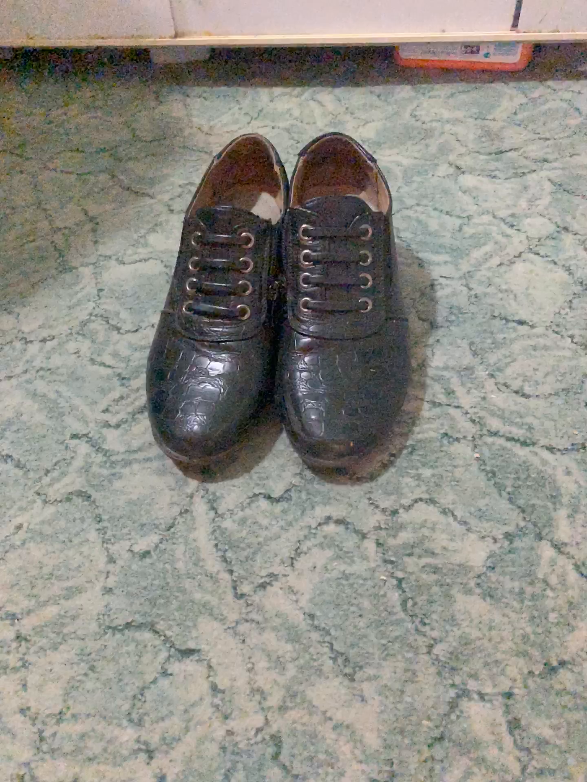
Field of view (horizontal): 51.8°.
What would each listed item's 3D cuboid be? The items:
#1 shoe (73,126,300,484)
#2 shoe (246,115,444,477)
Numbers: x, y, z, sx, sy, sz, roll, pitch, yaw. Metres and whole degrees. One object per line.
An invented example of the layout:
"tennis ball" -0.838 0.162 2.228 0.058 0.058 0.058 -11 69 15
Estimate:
"shoe" -0.051 -0.066 0.407 0.090 0.119 0.222 2 50 5
"shoe" 0.028 -0.067 0.390 0.090 0.119 0.211 -1 50 3
